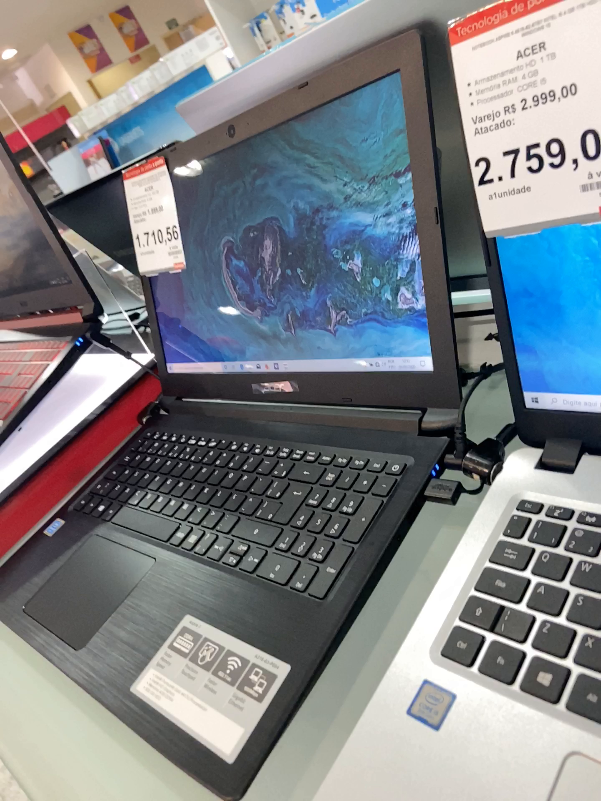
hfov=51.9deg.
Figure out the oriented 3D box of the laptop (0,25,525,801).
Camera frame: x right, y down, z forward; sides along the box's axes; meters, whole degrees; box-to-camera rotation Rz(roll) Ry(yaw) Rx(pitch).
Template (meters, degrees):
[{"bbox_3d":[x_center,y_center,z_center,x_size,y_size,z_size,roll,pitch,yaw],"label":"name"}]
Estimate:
[{"bbox_3d":[-0.110,-0.028,0.469,0.378,0.216,0.380,2,43,46],"label":"laptop"}]
